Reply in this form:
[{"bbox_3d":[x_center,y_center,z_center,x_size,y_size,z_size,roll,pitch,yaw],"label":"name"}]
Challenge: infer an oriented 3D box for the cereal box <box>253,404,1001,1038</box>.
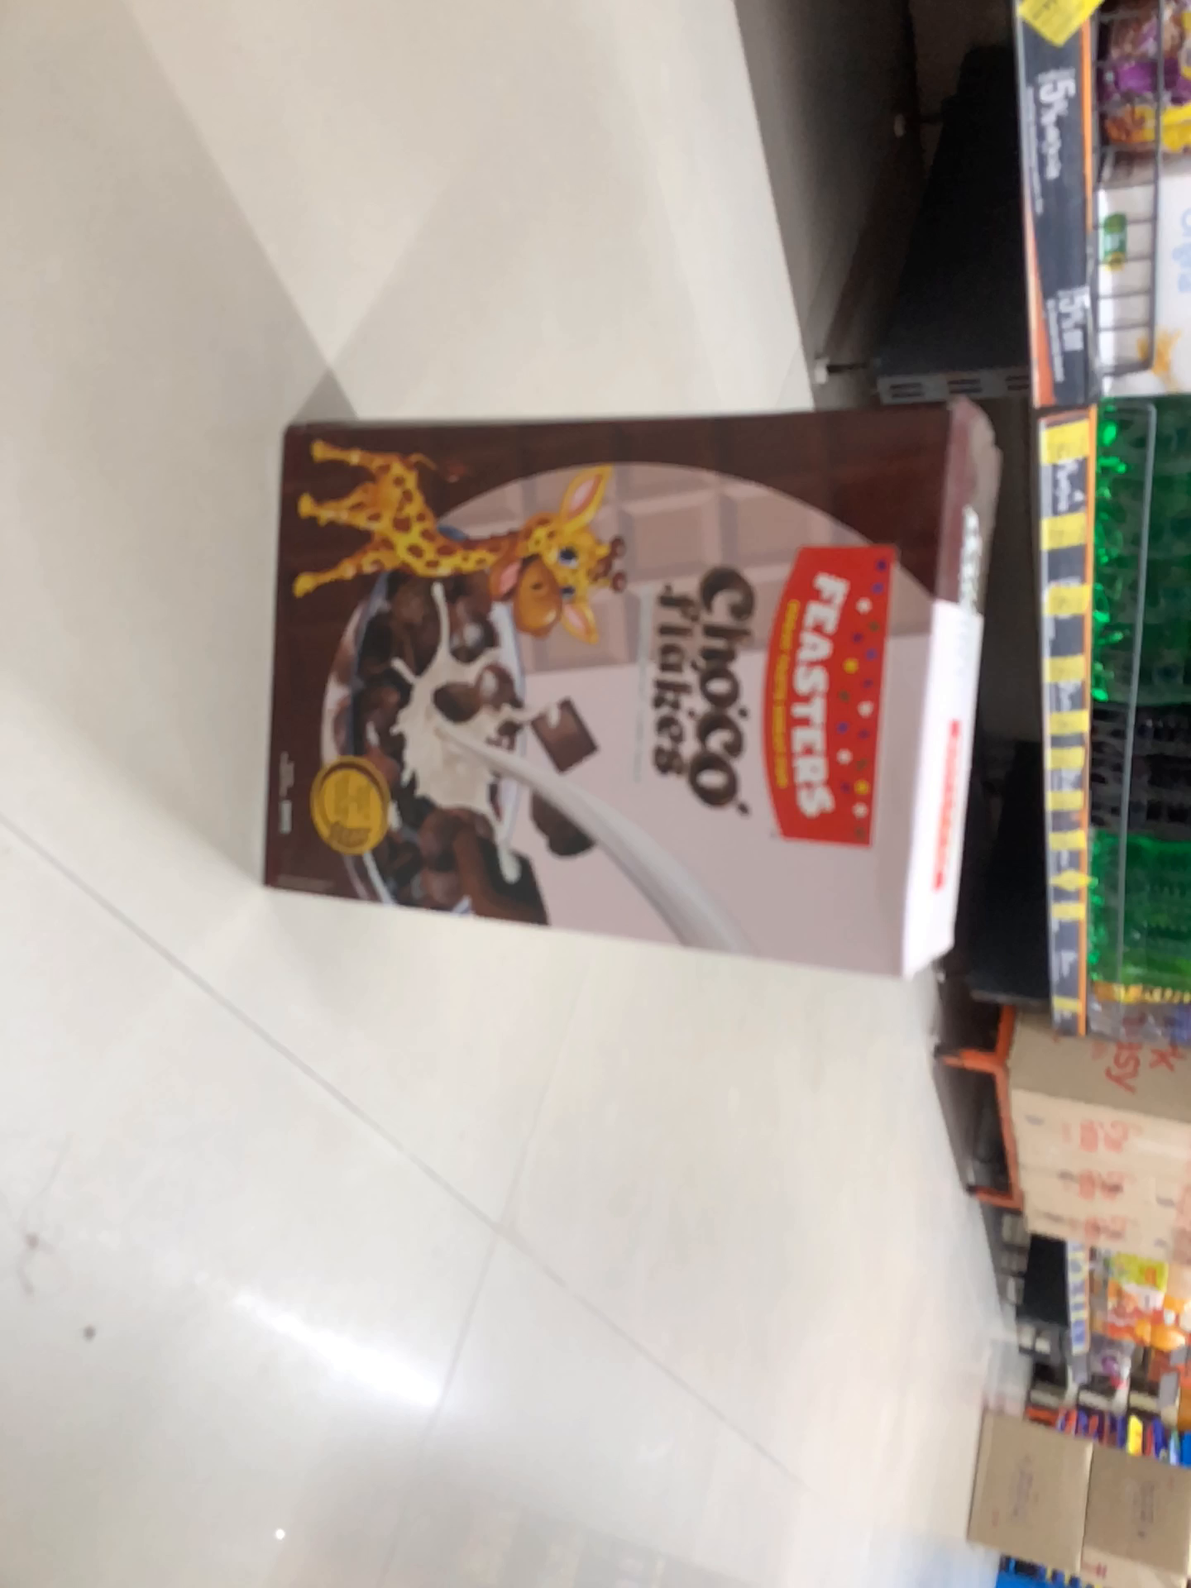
[{"bbox_3d":[0.002,-0.033,0.482,0.050,0.268,0.200,-5,99,-67],"label":"cereal box"}]
